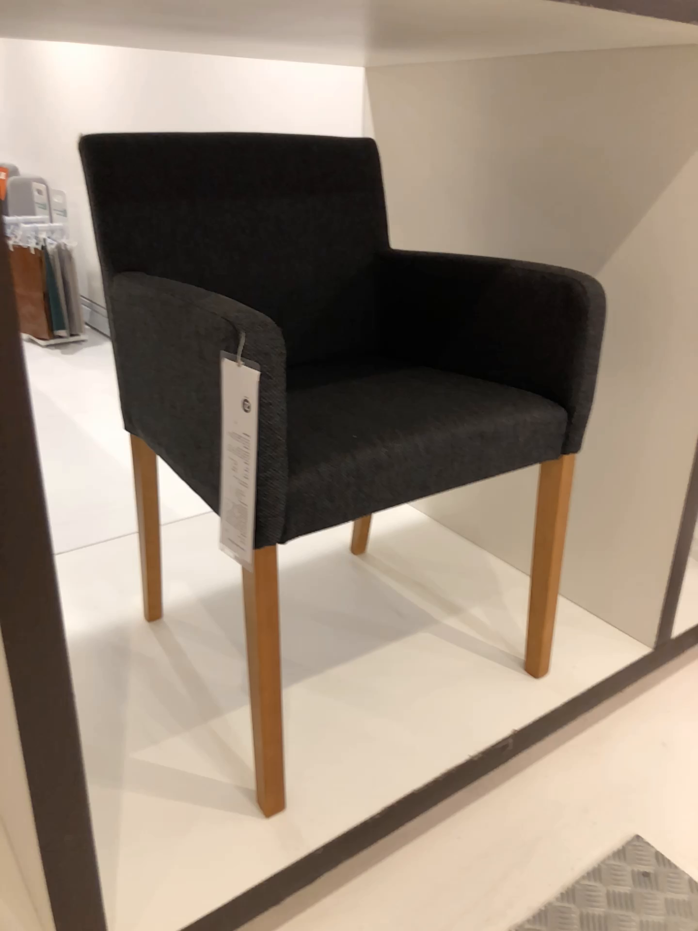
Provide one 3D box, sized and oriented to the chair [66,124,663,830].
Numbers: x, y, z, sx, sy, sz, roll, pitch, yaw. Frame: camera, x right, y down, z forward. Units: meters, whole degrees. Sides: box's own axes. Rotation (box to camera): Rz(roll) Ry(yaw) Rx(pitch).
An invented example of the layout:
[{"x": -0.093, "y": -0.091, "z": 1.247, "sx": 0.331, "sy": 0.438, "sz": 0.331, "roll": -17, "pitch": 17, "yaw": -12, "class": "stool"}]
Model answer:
[{"x": -0.013, "y": -0.069, "z": 1.162, "sx": 0.562, "sy": 0.795, "sz": 0.562, "roll": -14, "pitch": 28, "yaw": -34, "class": "chair"}]
